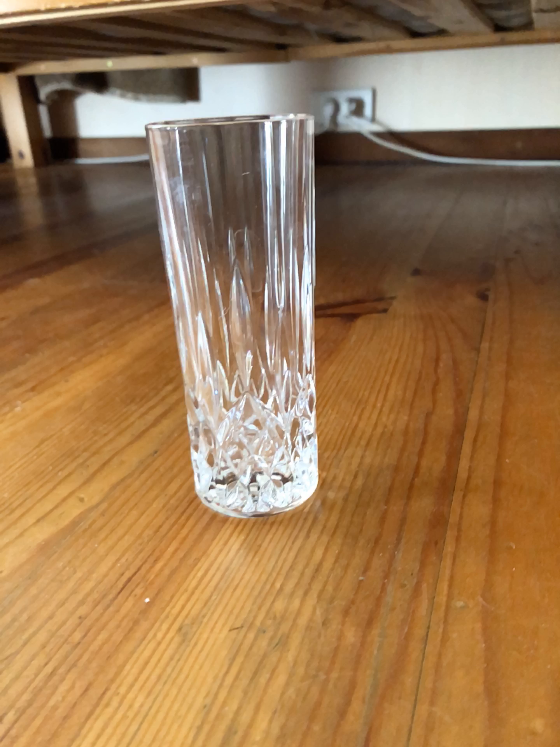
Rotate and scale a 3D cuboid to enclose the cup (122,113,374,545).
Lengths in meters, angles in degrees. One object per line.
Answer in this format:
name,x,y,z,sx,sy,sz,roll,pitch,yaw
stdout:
cup,-0.009,-0.020,0.241,0.064,0.144,0.059,-2,24,1
